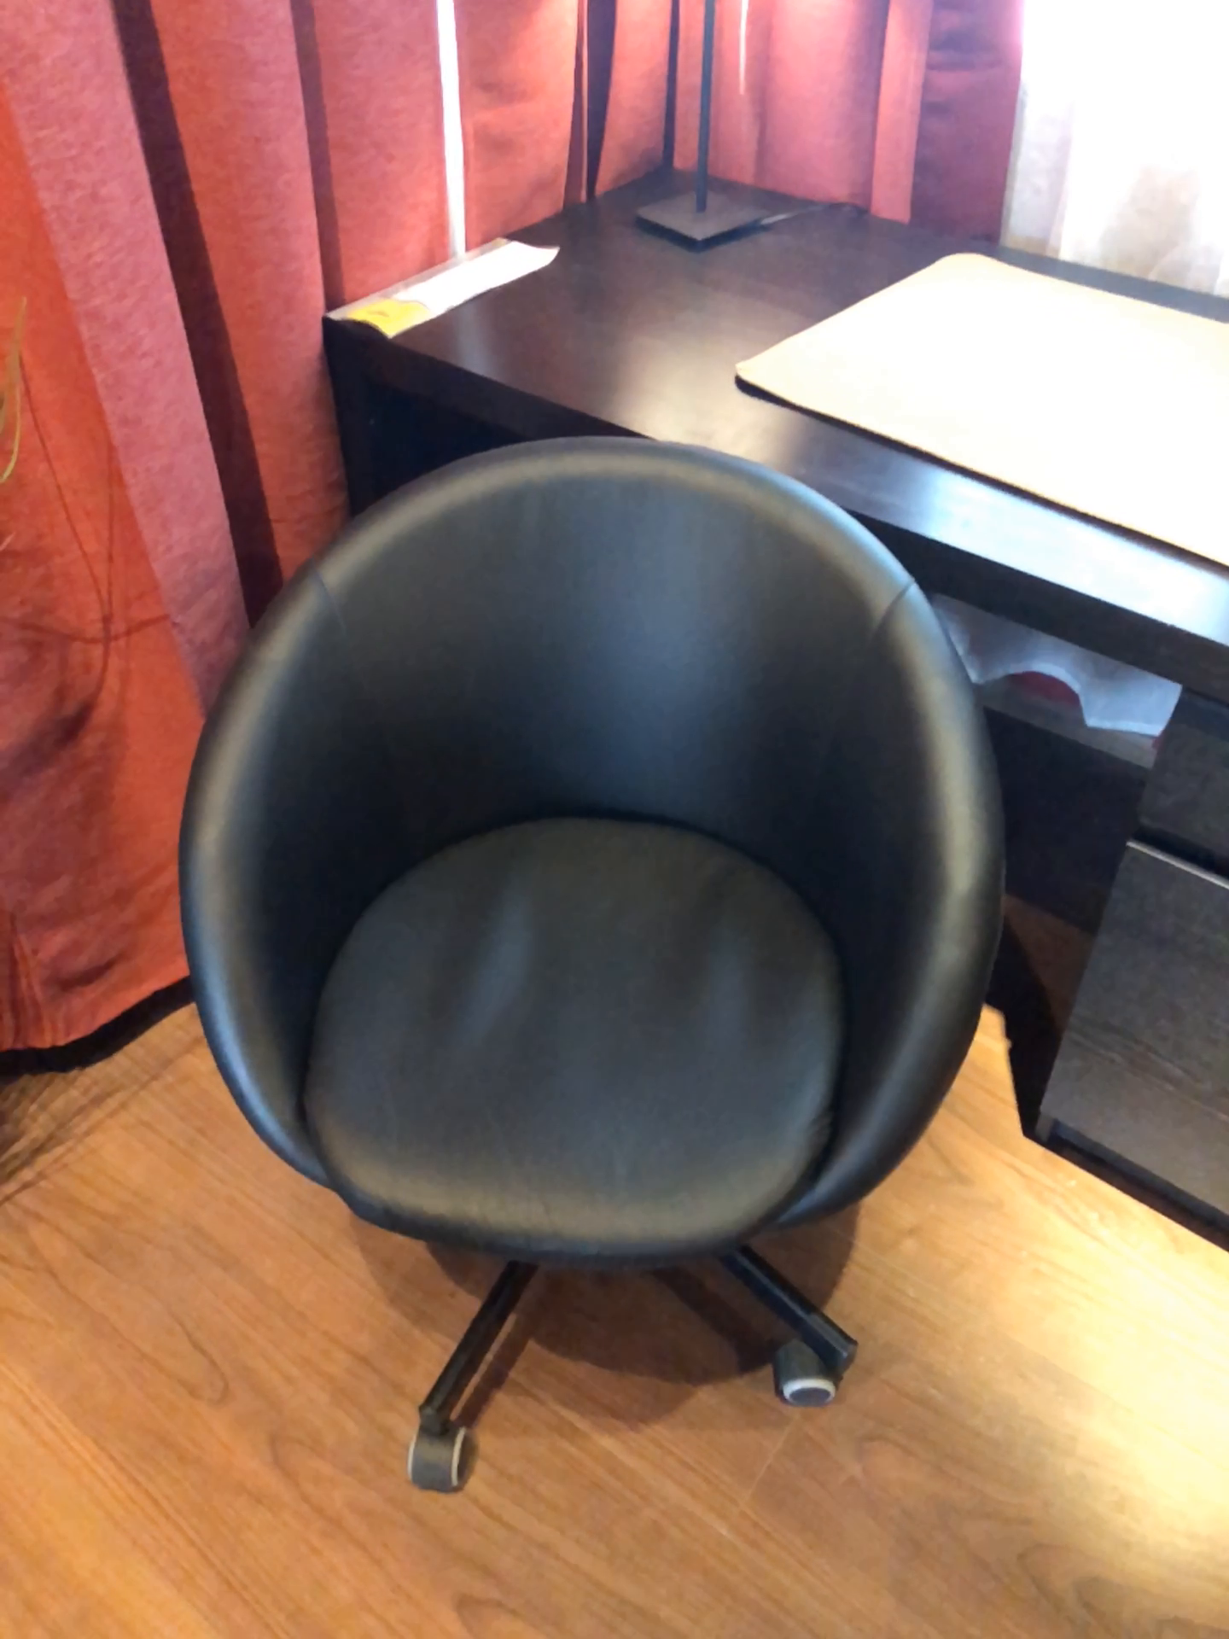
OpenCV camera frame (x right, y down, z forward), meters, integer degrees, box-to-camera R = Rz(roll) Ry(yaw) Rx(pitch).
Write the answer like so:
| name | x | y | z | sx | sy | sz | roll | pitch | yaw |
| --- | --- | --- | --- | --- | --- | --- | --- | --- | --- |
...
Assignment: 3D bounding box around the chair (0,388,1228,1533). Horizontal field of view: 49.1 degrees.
| name | x | y | z | sx | sy | sz | roll | pitch | yaw |
| --- | --- | --- | --- | --- | --- | --- | --- | --- | --- |
| chair | -0.015 | 0.117 | 1.074 | 0.630 | 0.695 | 0.574 | 1 | 43 | 3 |
